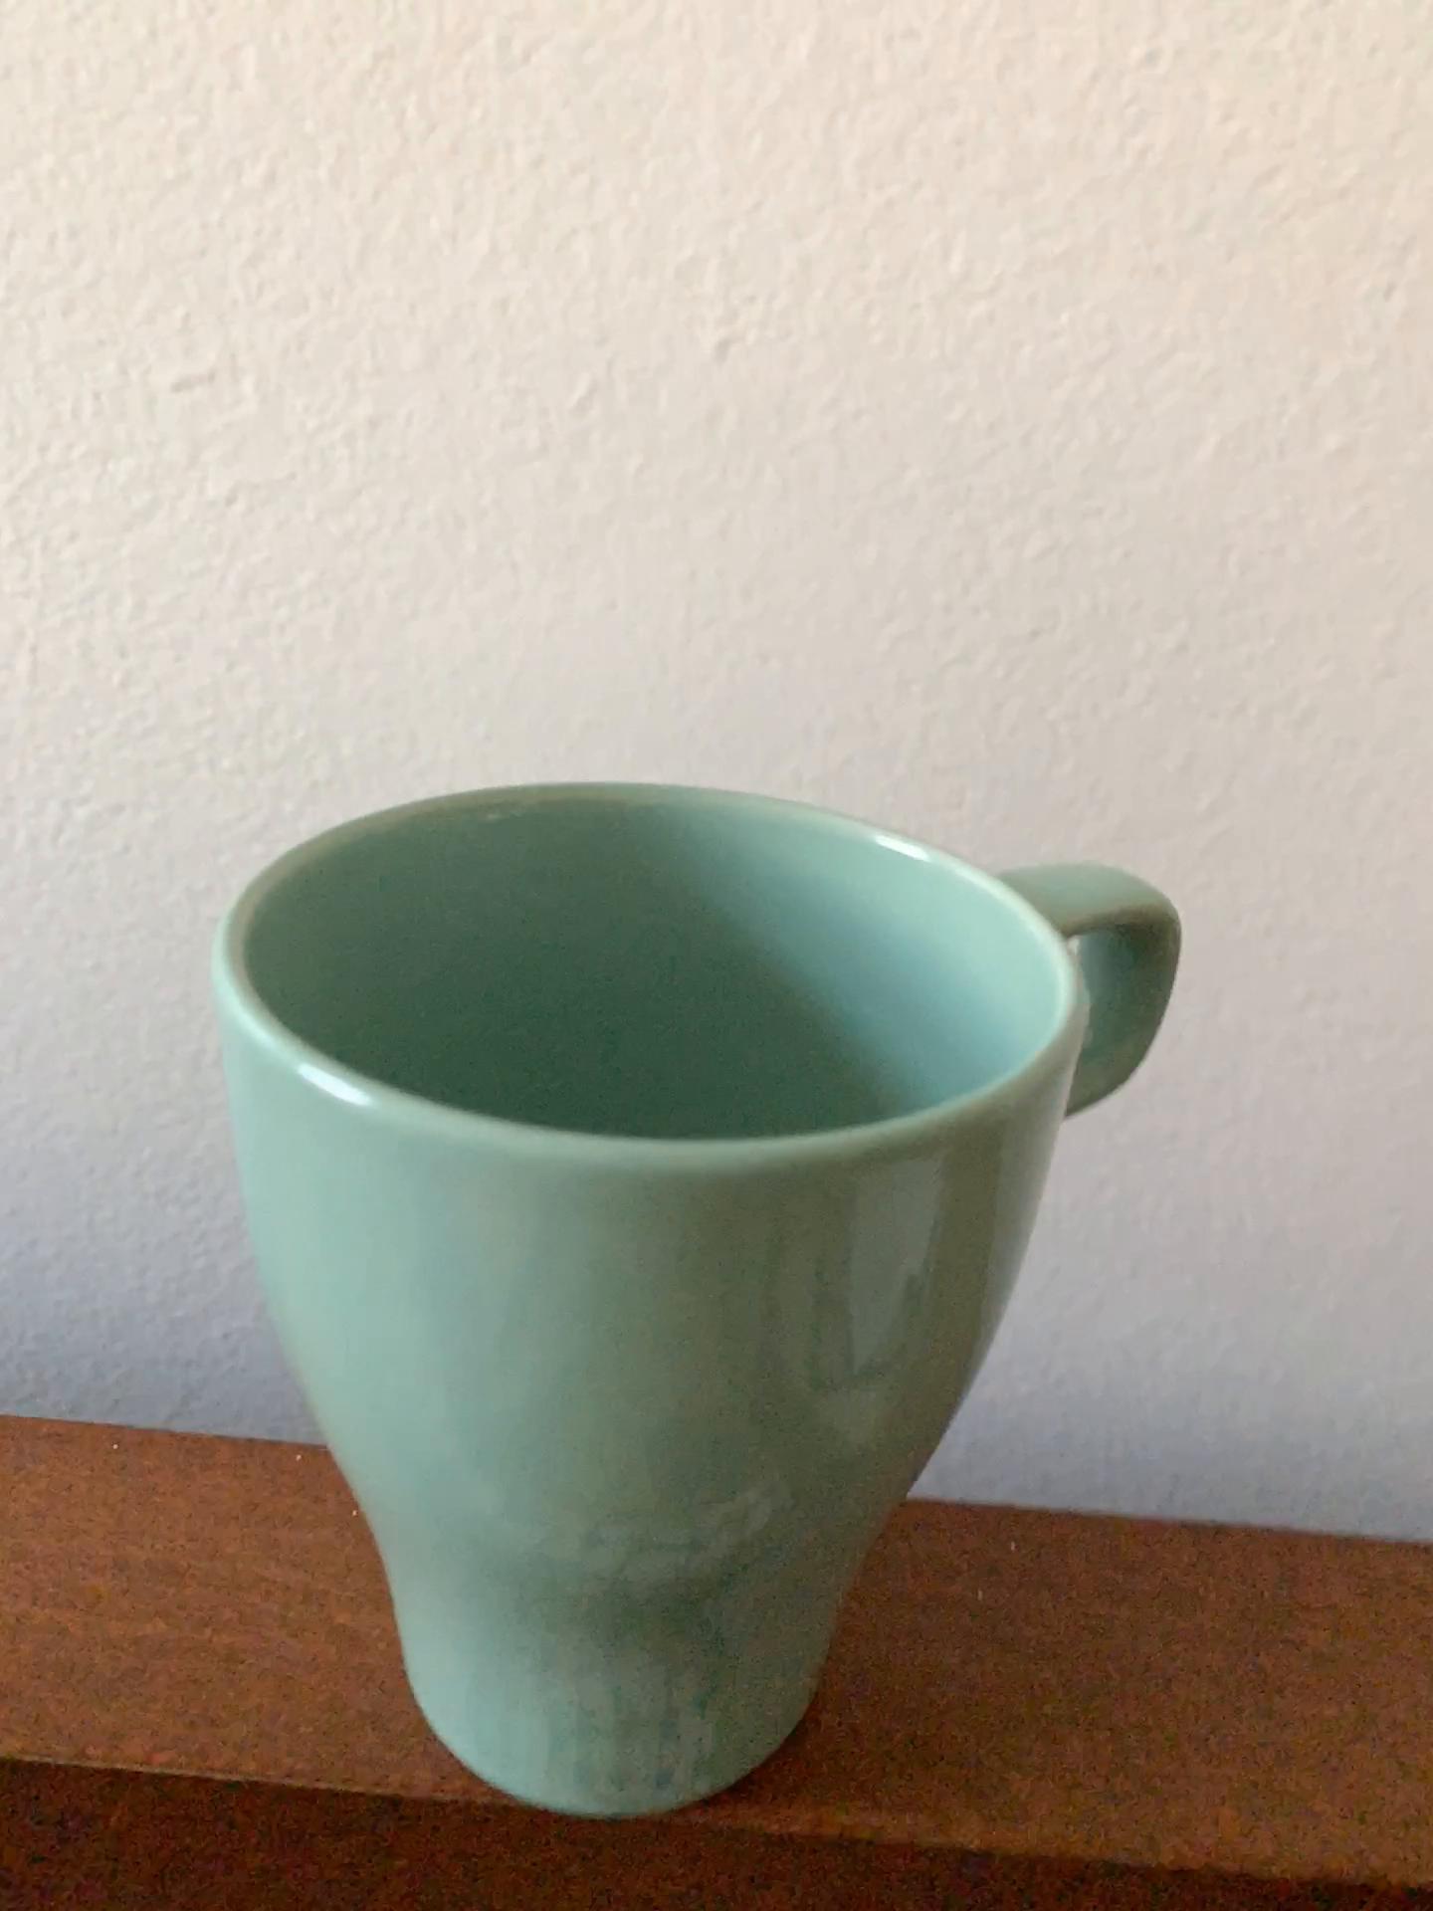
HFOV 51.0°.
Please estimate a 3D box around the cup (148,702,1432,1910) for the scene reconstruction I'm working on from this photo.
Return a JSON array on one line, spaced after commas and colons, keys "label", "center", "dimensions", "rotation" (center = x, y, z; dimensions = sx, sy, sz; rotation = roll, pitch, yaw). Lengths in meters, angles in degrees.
[{"label": "cup", "center": [0.009, 0.031, 0.181], "dimensions": [0.123, 0.091, 0.082], "rotation": [-12, 33, -35]}]
